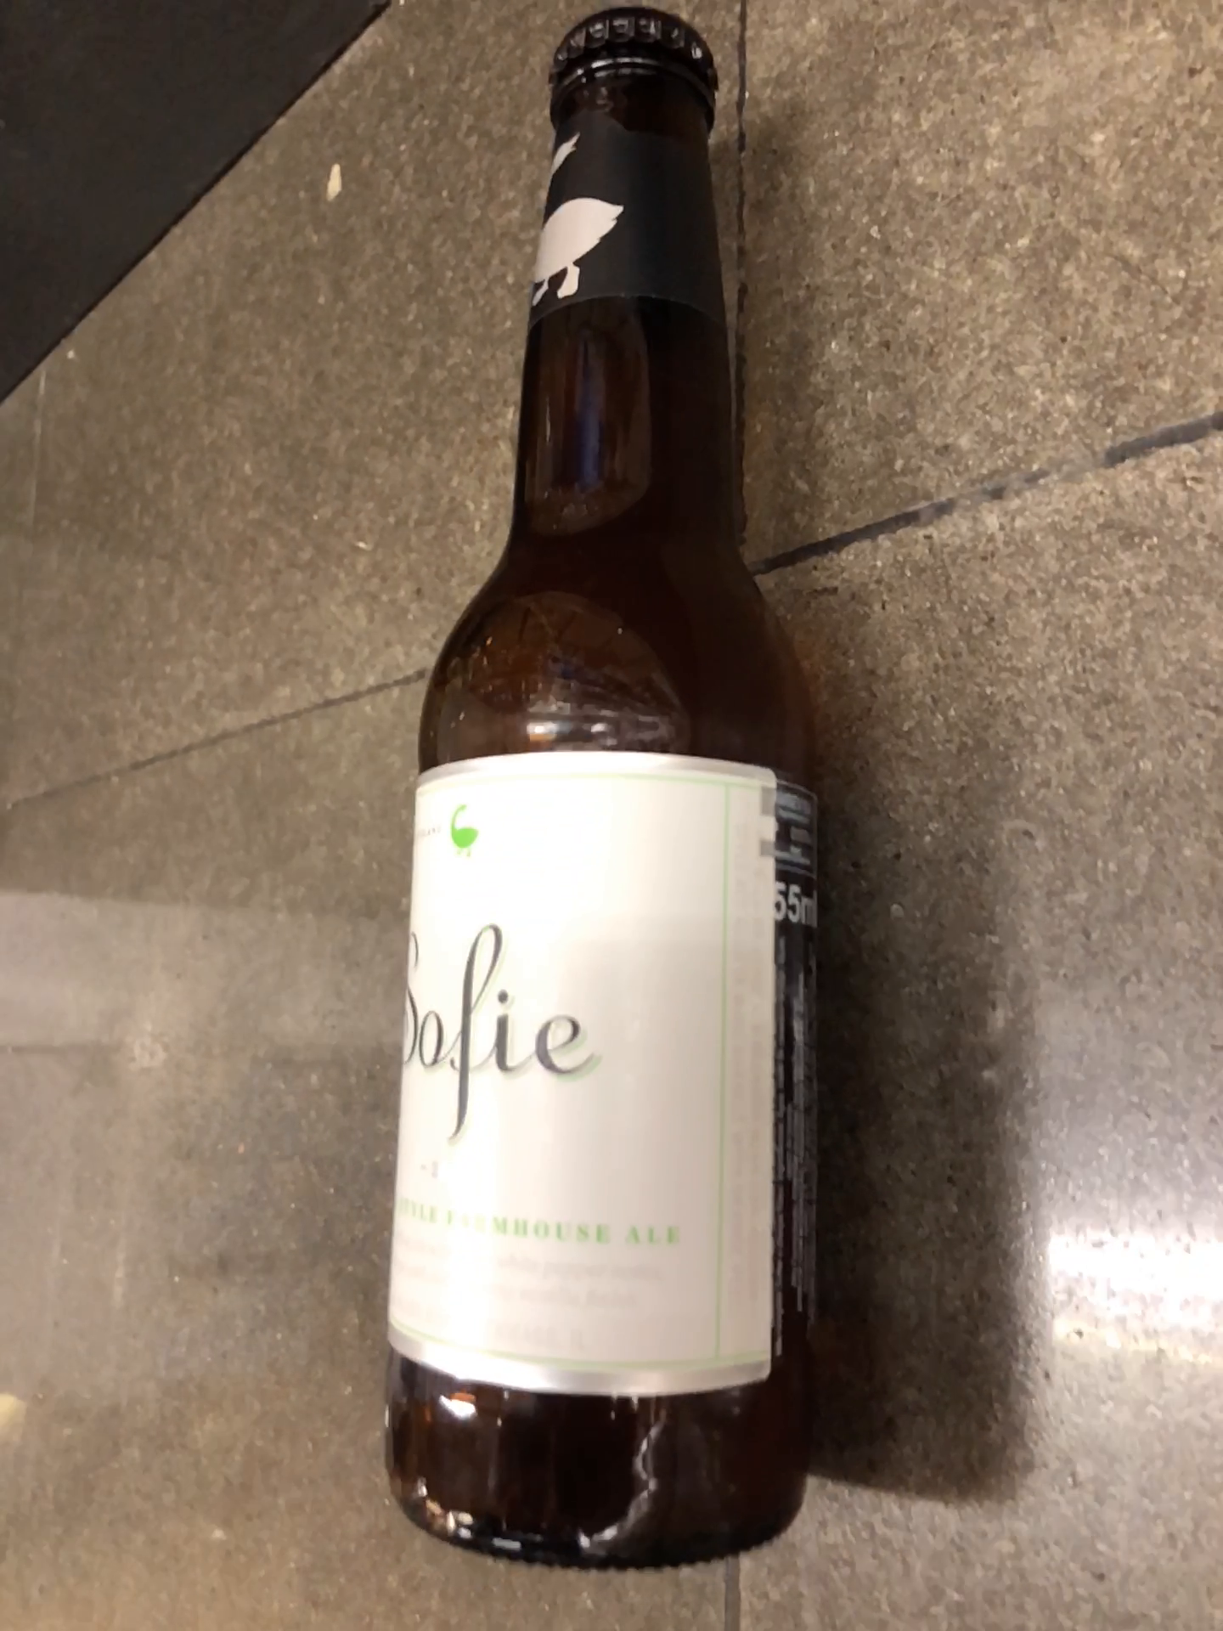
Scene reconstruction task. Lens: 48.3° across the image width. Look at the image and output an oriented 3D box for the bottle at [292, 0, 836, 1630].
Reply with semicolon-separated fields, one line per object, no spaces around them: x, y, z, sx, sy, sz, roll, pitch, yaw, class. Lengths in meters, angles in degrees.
-0.007;-0.019;0.209;0.070;0.040;0.240;-10;75;49;bottle
